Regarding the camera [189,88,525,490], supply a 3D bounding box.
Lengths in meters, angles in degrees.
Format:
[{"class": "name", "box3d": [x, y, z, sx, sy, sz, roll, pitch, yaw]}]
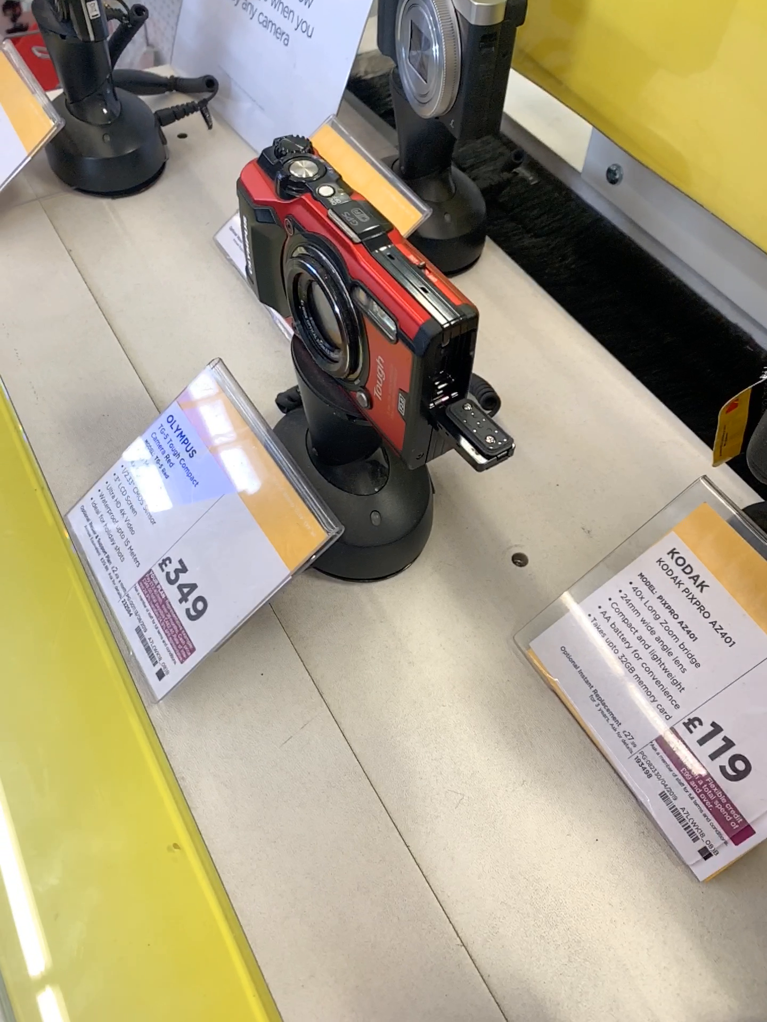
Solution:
[{"class": "camera", "box3d": [-0.013, -0.074, 0.254, 0.040, 0.060, 0.121, -27, 60, -20]}]
